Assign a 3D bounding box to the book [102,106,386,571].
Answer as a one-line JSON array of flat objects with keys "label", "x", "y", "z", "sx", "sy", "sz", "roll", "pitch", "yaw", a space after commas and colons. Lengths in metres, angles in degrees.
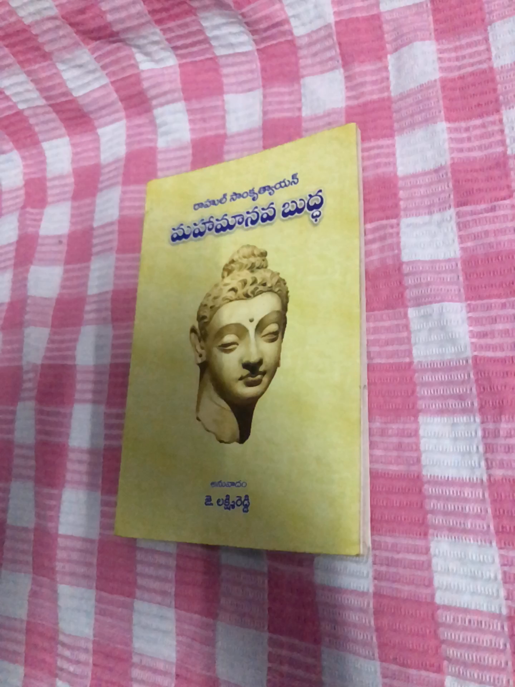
[{"label": "book", "x": -0.007, "y": -0.006, "z": 0.299, "sx": 0.140, "sy": 0.020, "sz": 0.220, "roll": -6, "pitch": 71, "yaw": 27}]
